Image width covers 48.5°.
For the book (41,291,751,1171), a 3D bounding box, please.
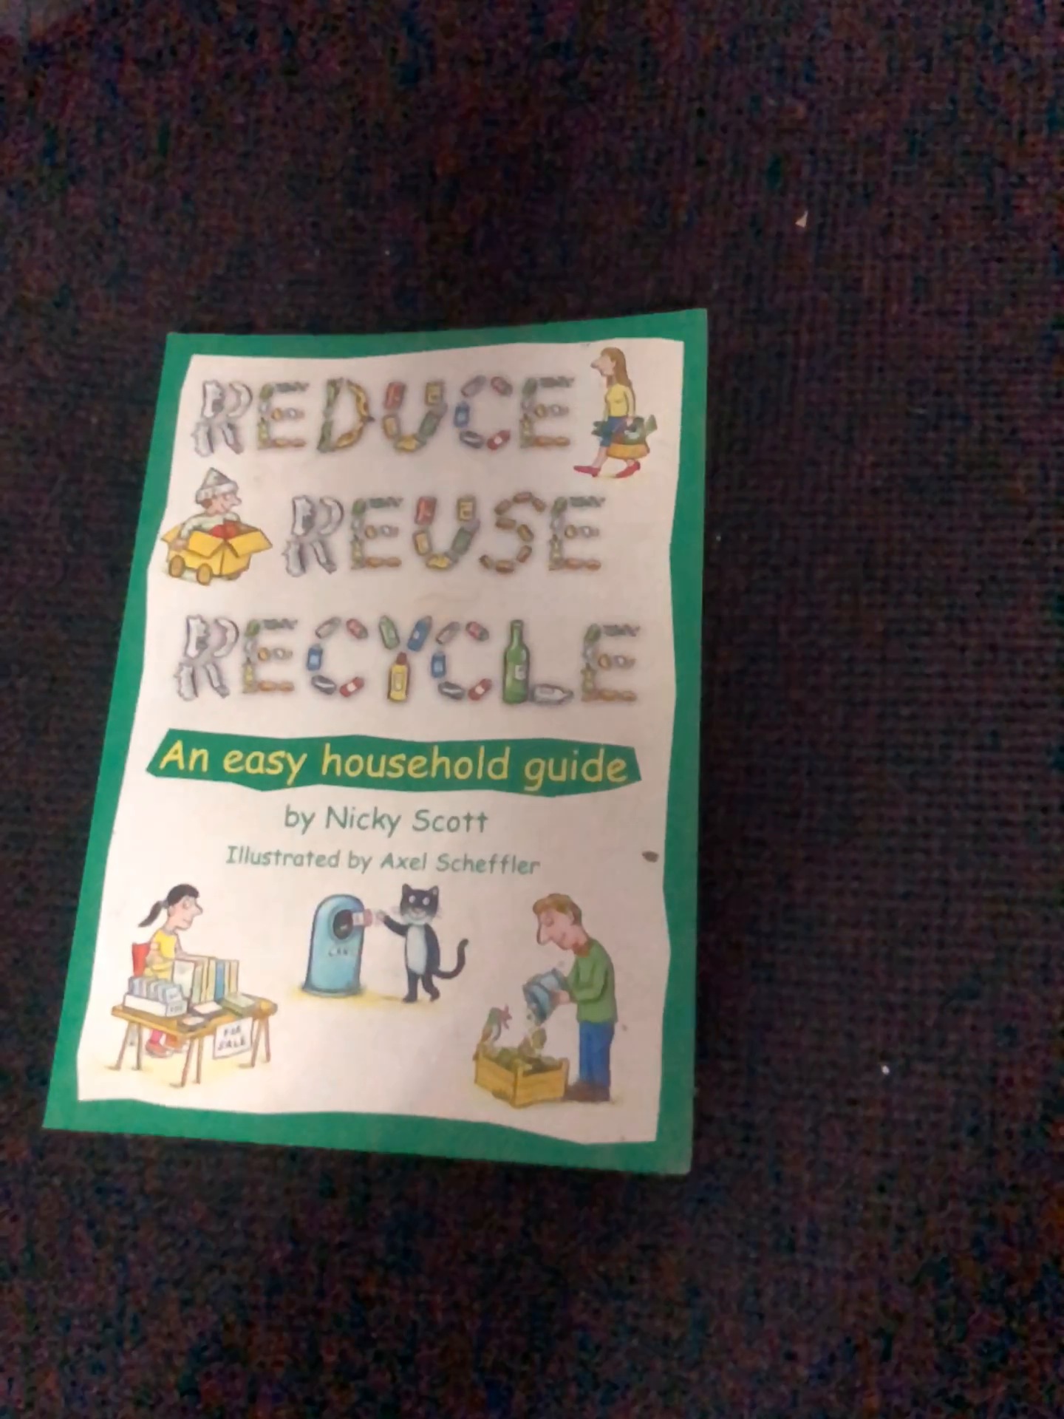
[{"bbox_3d":[-0.022,-0.003,0.244,0.130,0.018,0.173,1,74,10],"label":"book"}]
